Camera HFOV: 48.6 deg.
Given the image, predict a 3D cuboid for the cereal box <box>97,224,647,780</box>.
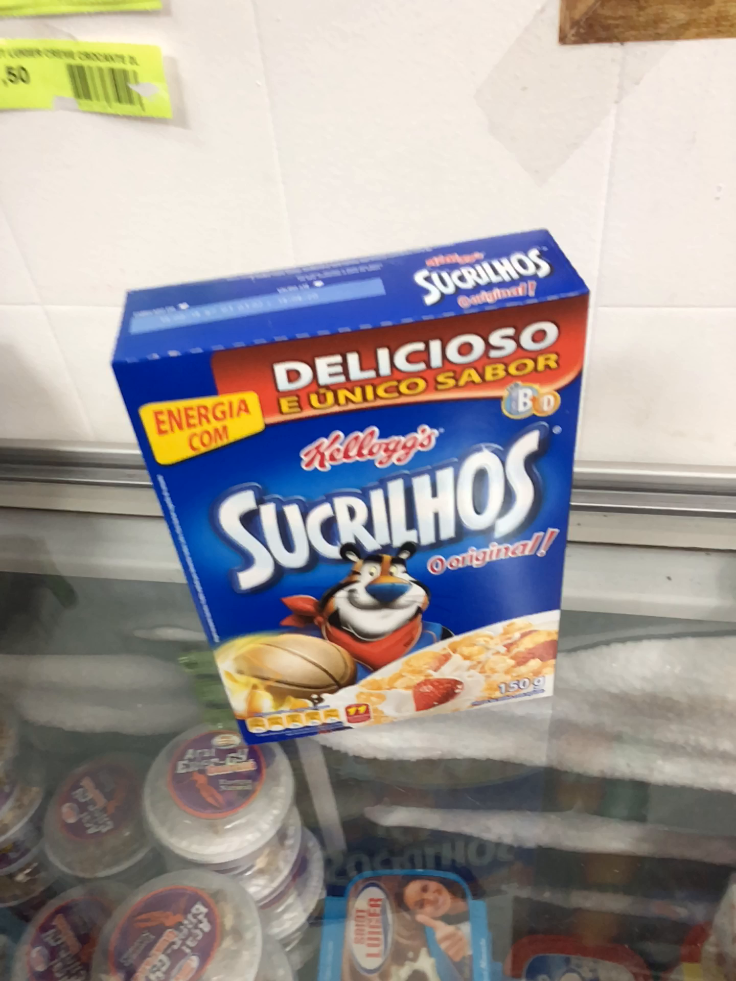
[{"bbox_3d":[0.007,0.020,0.290,0.140,0.199,0.050,-8,42,-2],"label":"cereal box"}]
